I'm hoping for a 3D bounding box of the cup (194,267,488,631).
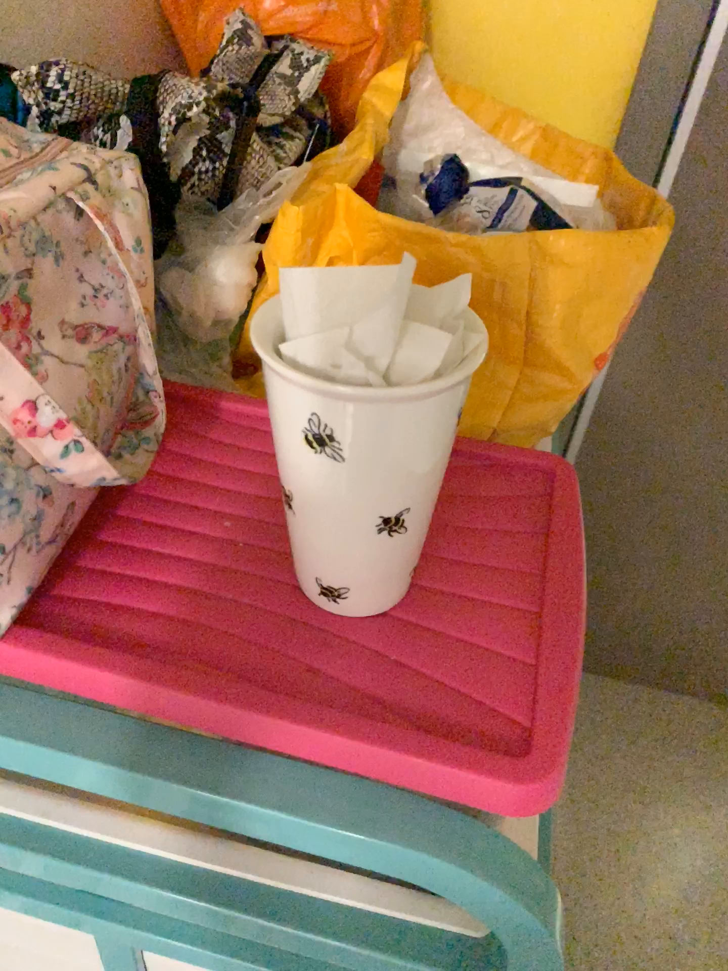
[{"bbox_3d":[-0.006,-0.017,0.320,0.098,0.112,0.091,2,38,-2],"label":"cup"}]
